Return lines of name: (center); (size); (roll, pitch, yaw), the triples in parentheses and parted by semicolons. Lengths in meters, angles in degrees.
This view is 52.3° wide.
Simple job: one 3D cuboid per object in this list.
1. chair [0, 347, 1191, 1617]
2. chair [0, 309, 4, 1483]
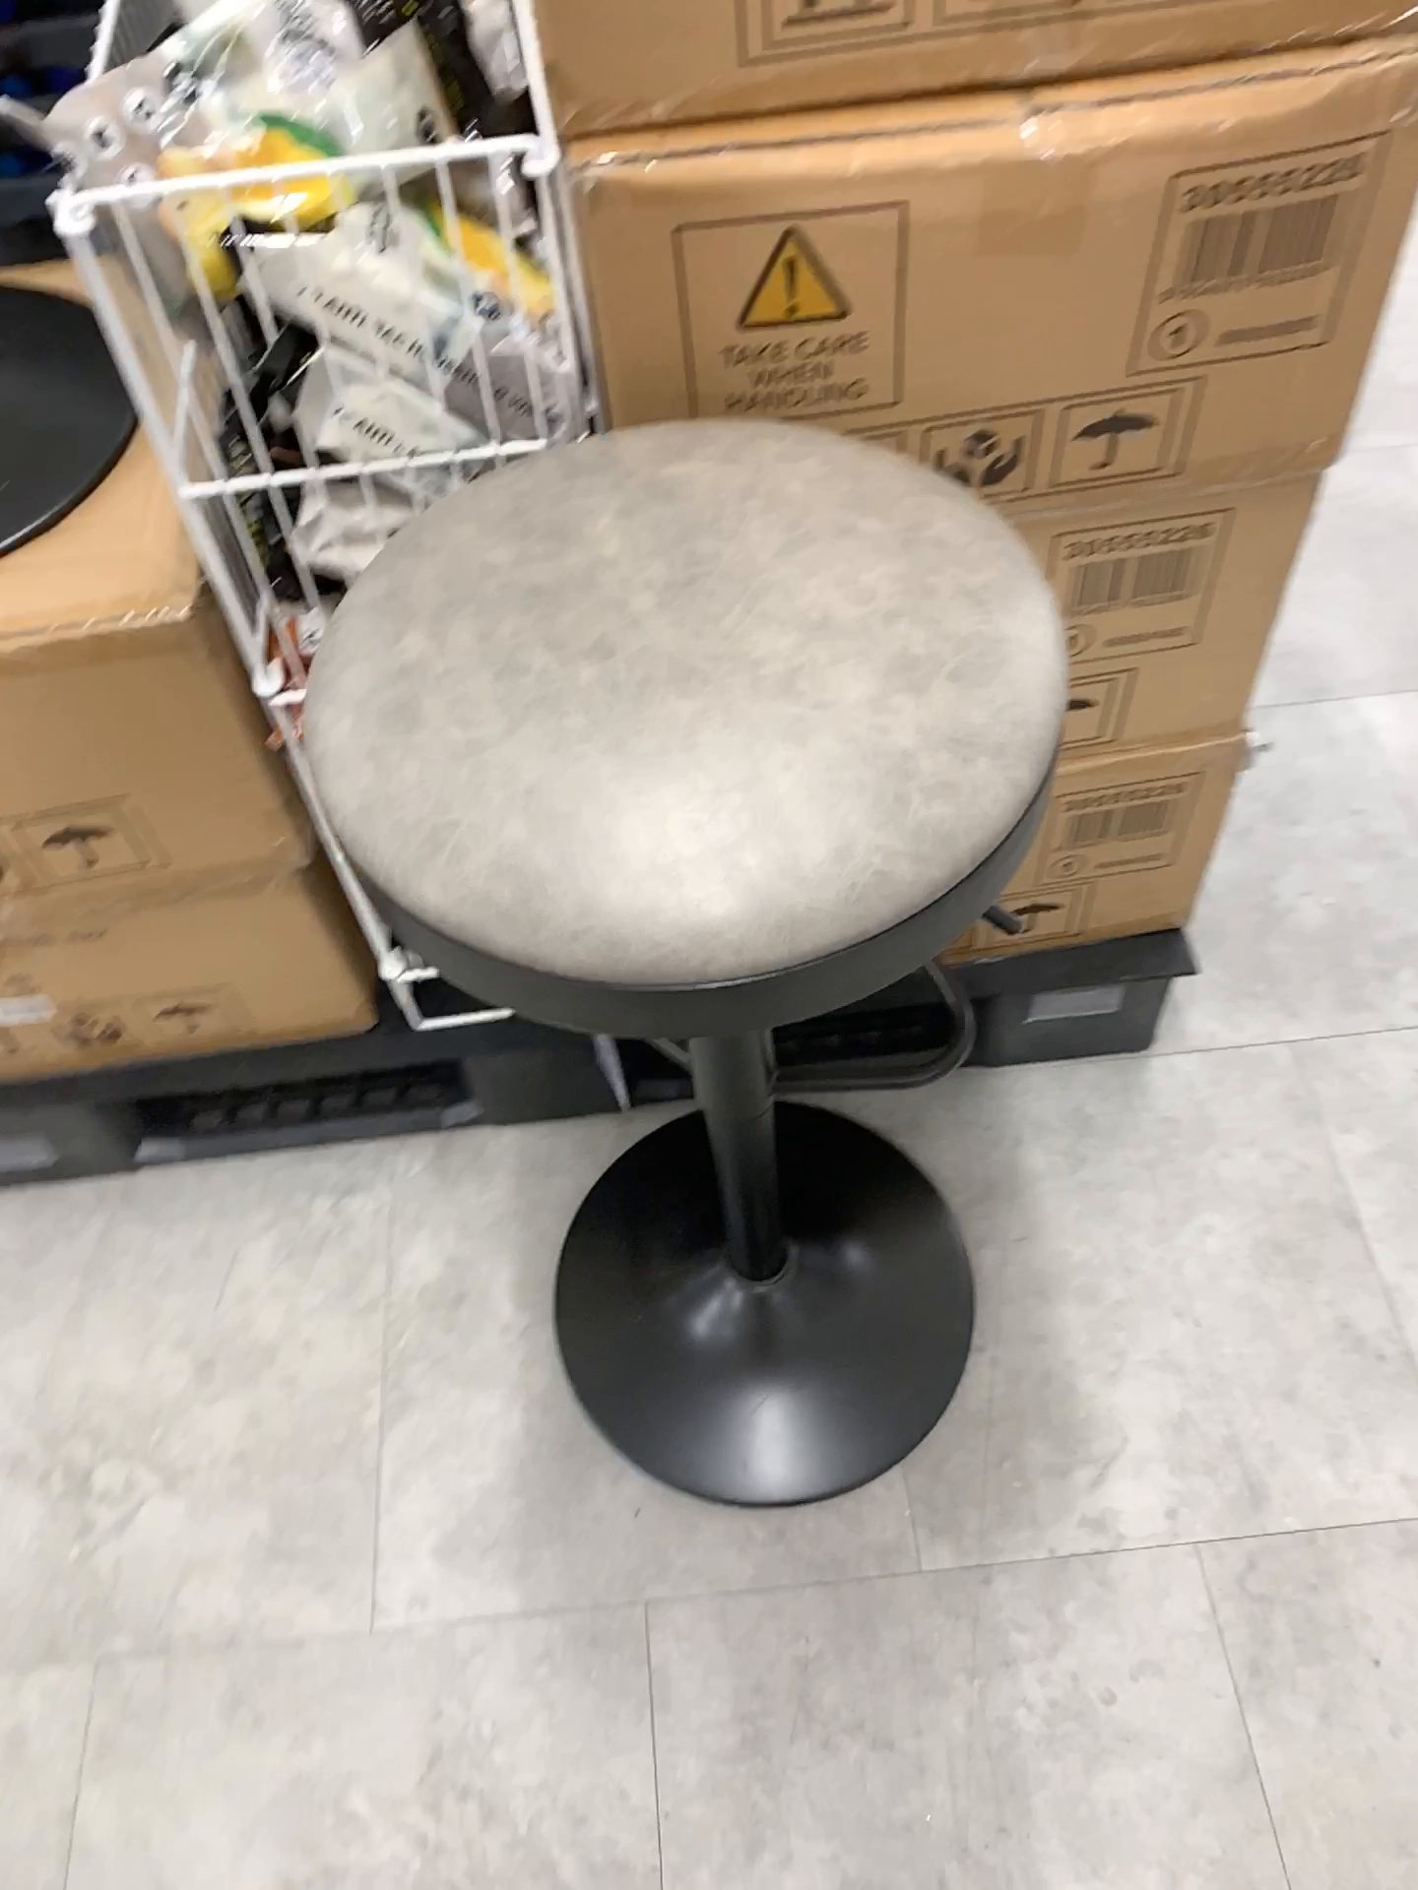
chair: (-0.001, 0.085, 0.949); (0.458, 0.741, 0.436); (8, 55, 10)
chair: (-0.973, 0.033, 1.025); (0.507, 0.722, 0.456); (-4, 54, 2)
